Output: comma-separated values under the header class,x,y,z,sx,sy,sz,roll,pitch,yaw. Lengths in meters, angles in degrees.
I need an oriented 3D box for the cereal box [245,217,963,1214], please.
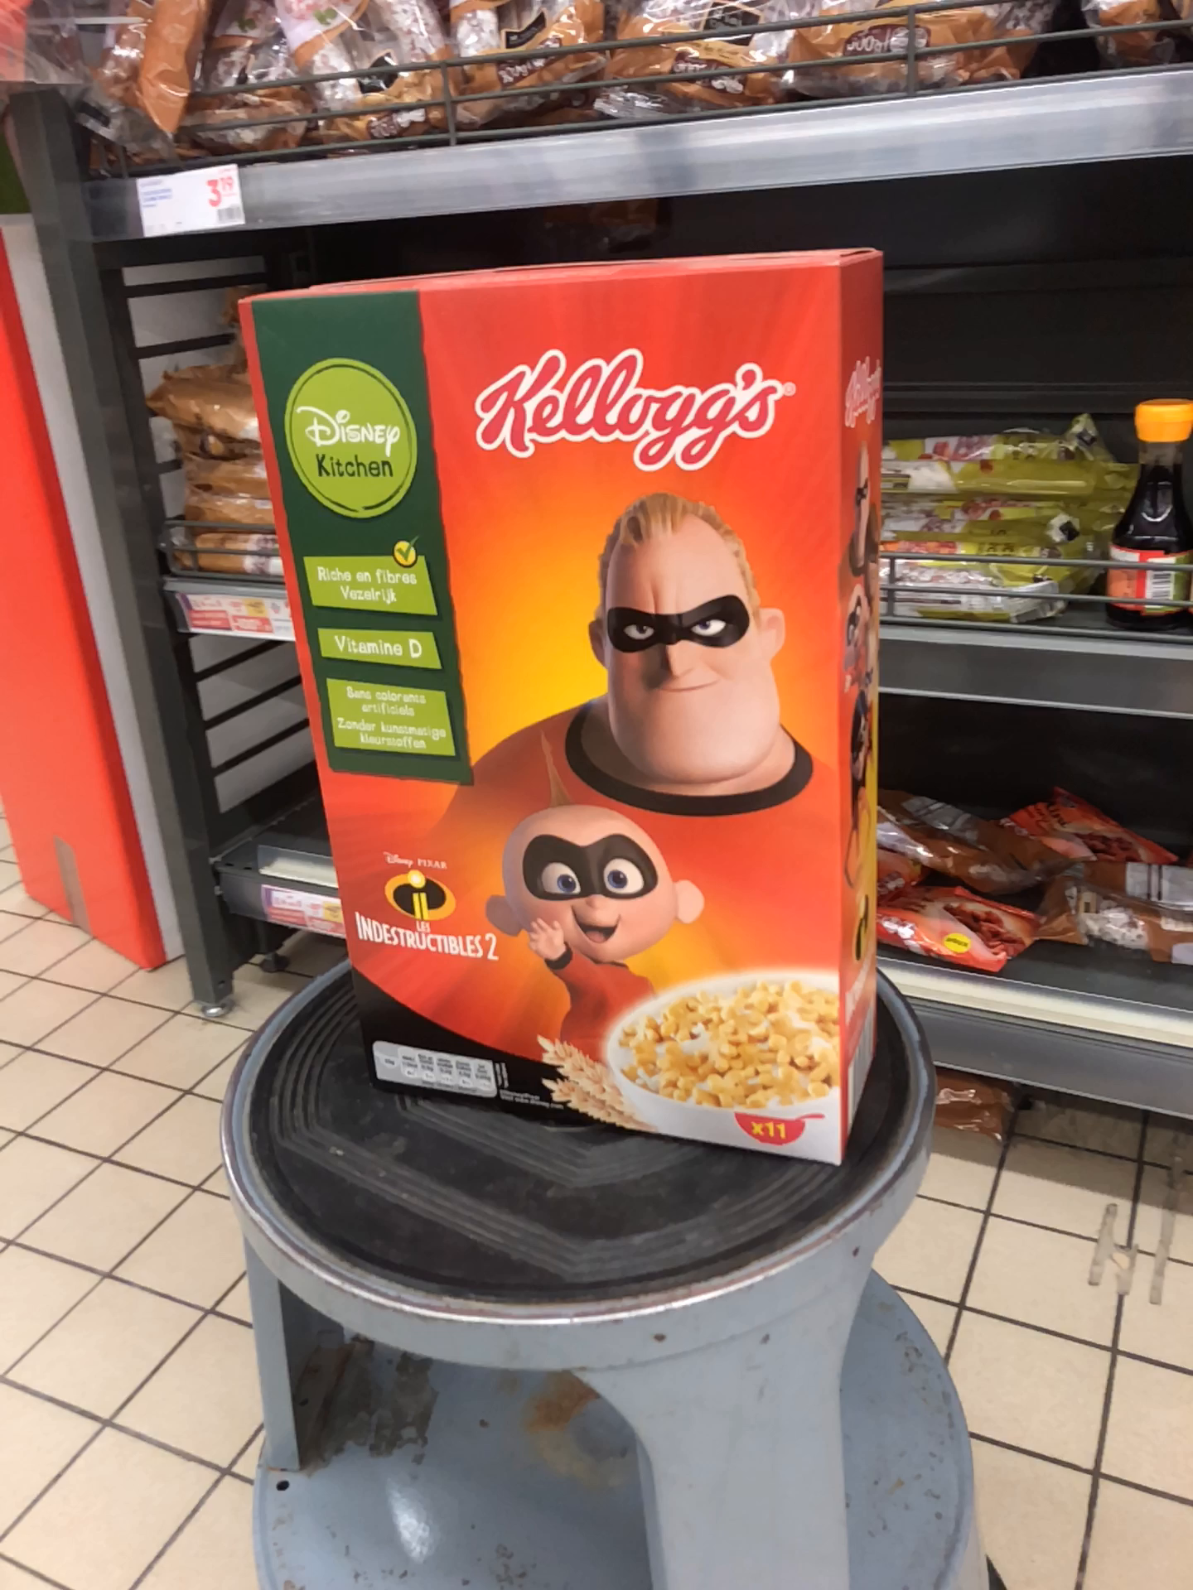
class,x,y,z,sx,sy,sz,roll,pitch,yaw
cereal box,0.012,-0.024,0.451,0.200,0.308,0.080,6,25,21
